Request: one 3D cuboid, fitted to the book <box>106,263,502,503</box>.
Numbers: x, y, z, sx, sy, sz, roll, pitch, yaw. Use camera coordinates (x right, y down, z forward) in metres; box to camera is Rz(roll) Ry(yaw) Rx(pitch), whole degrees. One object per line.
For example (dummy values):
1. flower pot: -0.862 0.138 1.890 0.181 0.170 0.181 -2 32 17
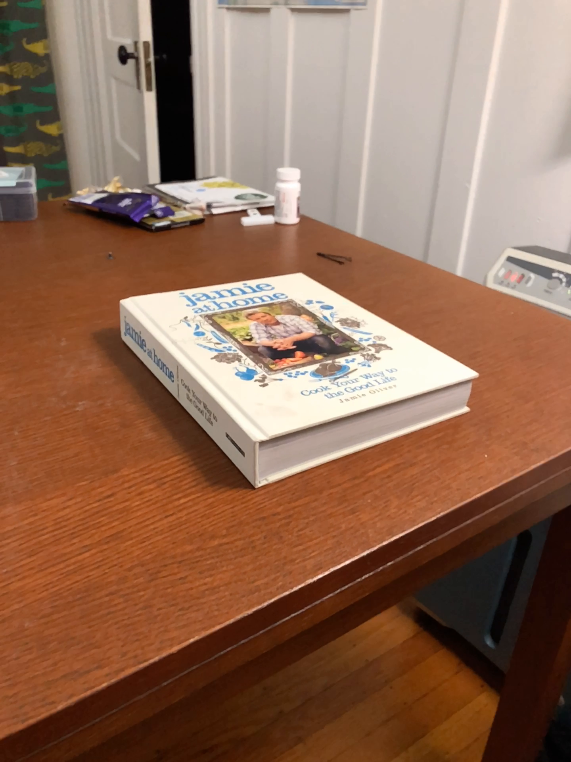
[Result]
1. book: 0.000 -0.024 0.517 0.210 0.040 0.261 -15 33 -28
